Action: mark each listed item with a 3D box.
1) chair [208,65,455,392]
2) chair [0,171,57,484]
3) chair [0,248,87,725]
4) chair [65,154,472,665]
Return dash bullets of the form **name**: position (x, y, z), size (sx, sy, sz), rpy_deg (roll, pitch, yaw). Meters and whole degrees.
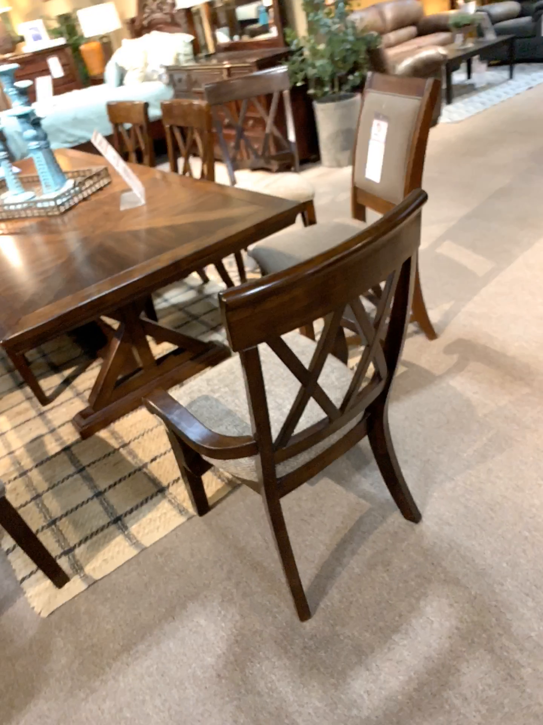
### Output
- **chair**: position (0.255, -0.505, 2.086), size (0.644, 0.936, 0.508), rpy_deg (-22, 35, -14)
- **chair**: position (-1.385, -0.150, 2.148), size (0.645, 0.916, 0.467), rpy_deg (-30, 37, -24)
- **chair**: position (-0.999, 0.324, 1.306), size (0.646, 0.916, 0.507), rpy_deg (-36, 39, -31)
- **chair**: position (0.031, 0.064, 1.352), size (0.546, 0.896, 0.657), rpy_deg (-30, 37, -24)
